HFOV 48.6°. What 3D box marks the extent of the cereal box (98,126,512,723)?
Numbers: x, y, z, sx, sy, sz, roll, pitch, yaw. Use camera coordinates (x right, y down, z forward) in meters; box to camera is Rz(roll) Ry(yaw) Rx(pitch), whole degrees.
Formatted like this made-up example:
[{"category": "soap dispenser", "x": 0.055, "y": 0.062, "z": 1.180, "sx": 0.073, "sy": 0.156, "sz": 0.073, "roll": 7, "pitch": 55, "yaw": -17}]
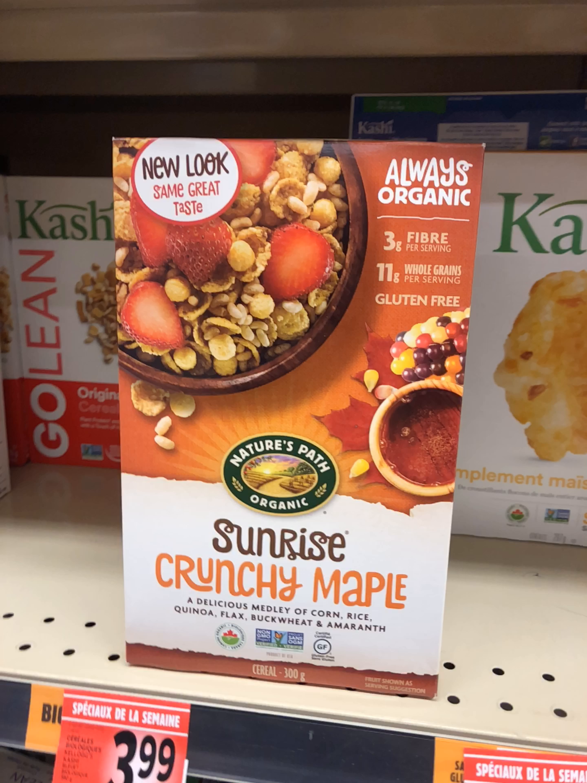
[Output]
[{"category": "cereal box", "x": 0.002, "y": 0.016, "z": 0.323, "sx": 0.170, "sy": 0.269, "sz": 0.060, "roll": 3, "pitch": 13, "yaw": 7}]
